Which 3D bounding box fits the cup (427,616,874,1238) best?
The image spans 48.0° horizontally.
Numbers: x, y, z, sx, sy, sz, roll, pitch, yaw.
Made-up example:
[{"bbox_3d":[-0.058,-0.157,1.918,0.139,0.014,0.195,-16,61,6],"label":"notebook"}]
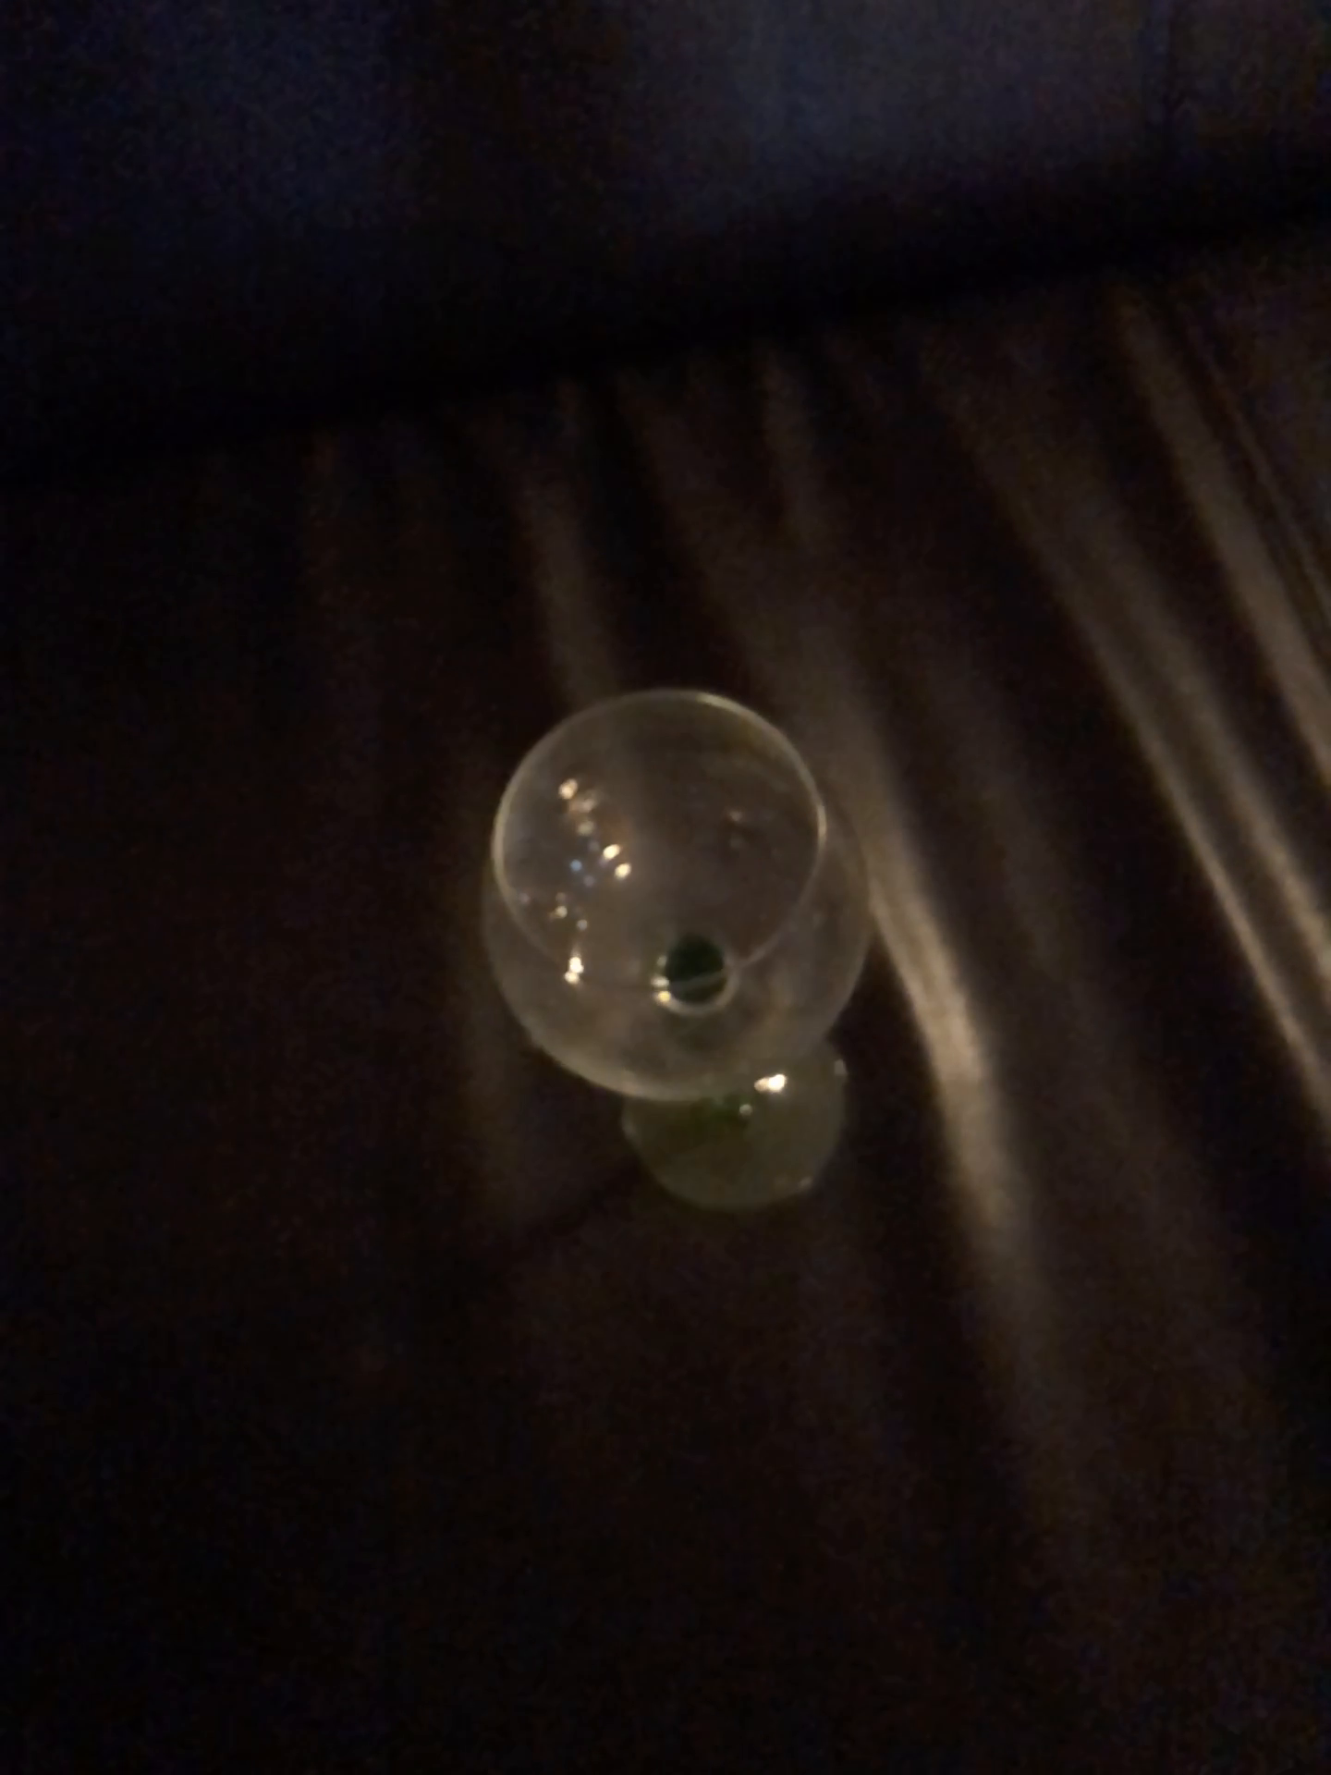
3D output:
[{"bbox_3d":[0.007,0.024,0.367,0.080,0.185,0.080,-3,65,7],"label":"cup"}]
